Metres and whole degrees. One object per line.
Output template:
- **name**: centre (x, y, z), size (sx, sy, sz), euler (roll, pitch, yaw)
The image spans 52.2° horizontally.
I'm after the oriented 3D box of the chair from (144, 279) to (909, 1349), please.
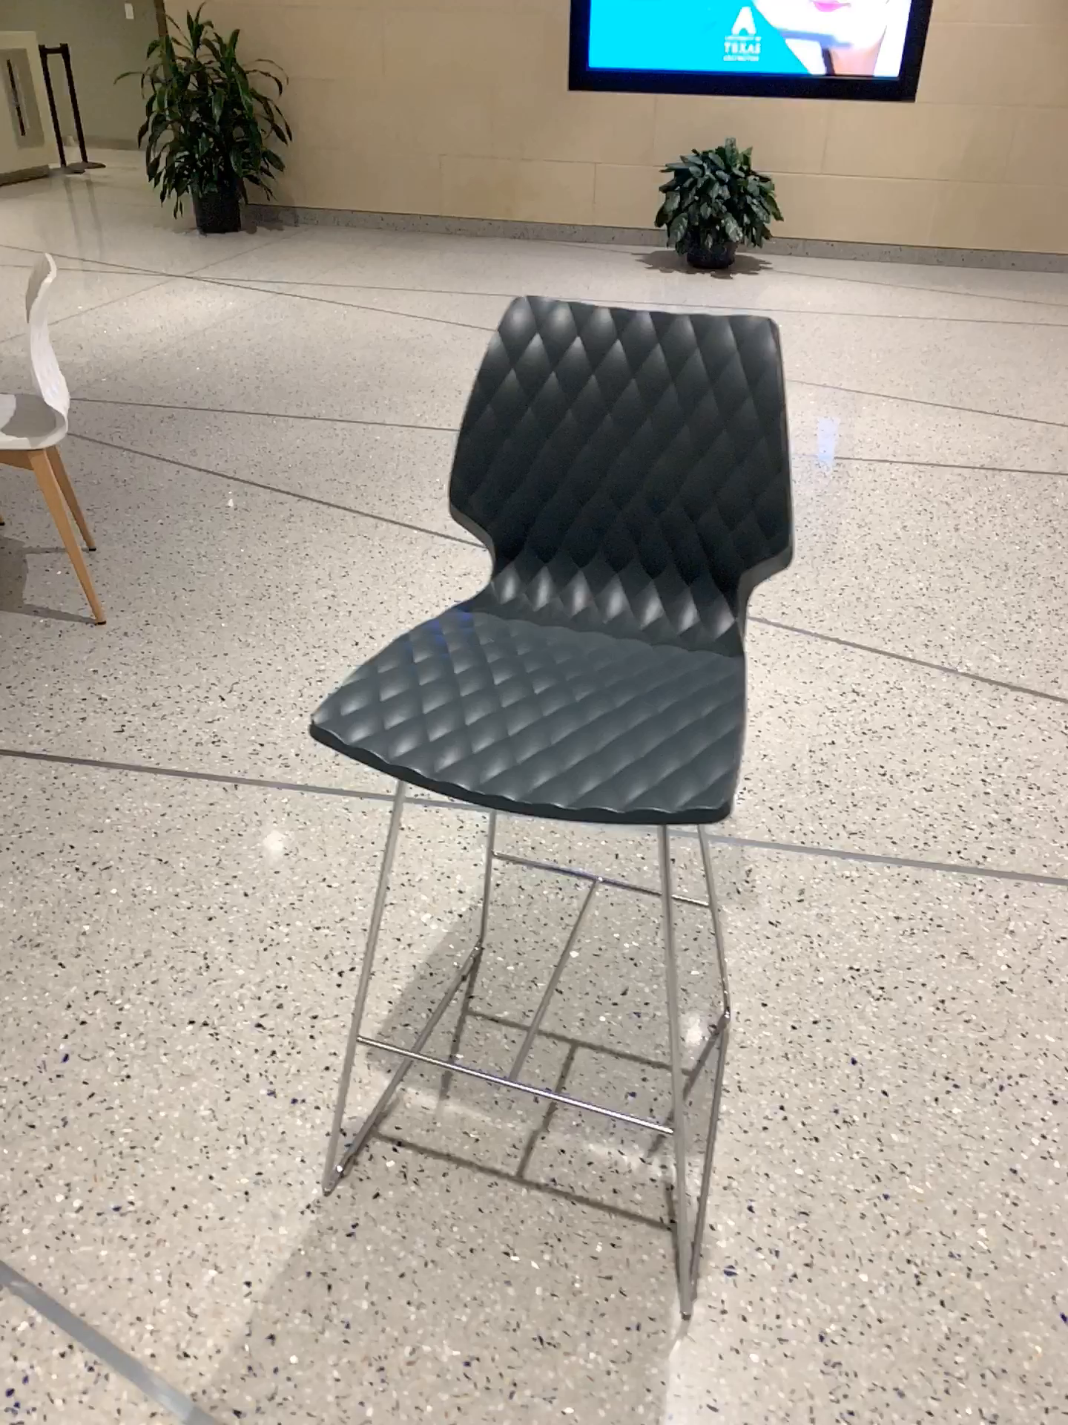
- **chair**: centre (0.031, 0.106, 1.248), size (0.535, 0.995, 0.535), euler (12, 34, 17)
